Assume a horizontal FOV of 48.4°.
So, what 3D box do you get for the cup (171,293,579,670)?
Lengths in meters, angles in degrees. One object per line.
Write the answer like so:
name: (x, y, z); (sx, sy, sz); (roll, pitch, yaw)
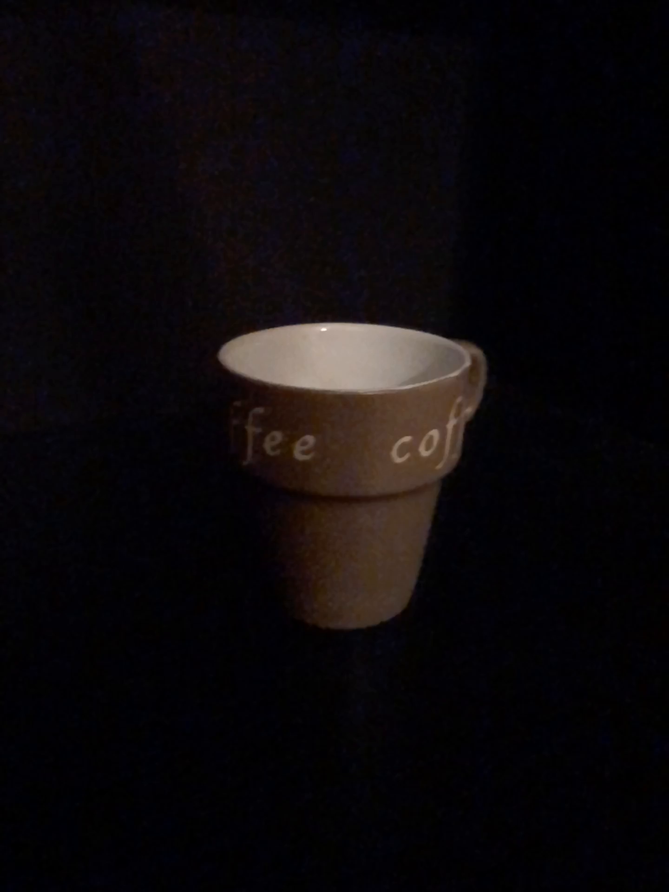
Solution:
cup: (0.013, 0.001, 0.259); (0.107, 0.082, 0.080); (-17, 29, -36)
